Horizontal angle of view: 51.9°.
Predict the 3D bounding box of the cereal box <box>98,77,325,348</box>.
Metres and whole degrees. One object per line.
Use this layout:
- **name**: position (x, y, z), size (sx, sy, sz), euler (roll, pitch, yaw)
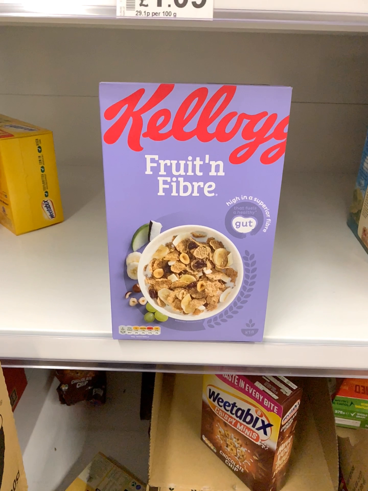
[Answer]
- **cereal box**: position (0.022, -0.030, 0.442), size (0.210, 0.298, 0.081), euler (1, 22, 0)
